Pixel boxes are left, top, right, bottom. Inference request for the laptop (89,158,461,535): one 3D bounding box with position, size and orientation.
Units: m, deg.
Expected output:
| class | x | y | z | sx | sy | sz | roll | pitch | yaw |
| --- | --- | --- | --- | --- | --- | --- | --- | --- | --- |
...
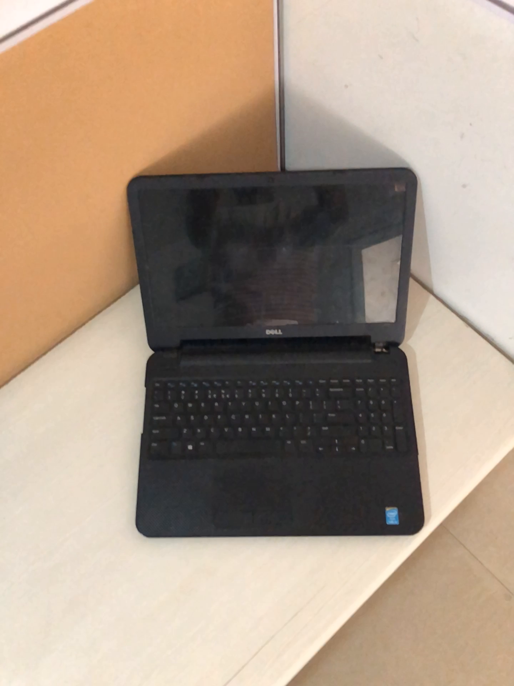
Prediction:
| class | x | y | z | sx | sy | sz | roll | pitch | yaw |
| --- | --- | --- | --- | --- | --- | --- | --- | --- | --- |
| laptop | 0.018 | 0.006 | 0.692 | 0.352 | 0.175 | 0.414 | -1 | 68 | 3 |
